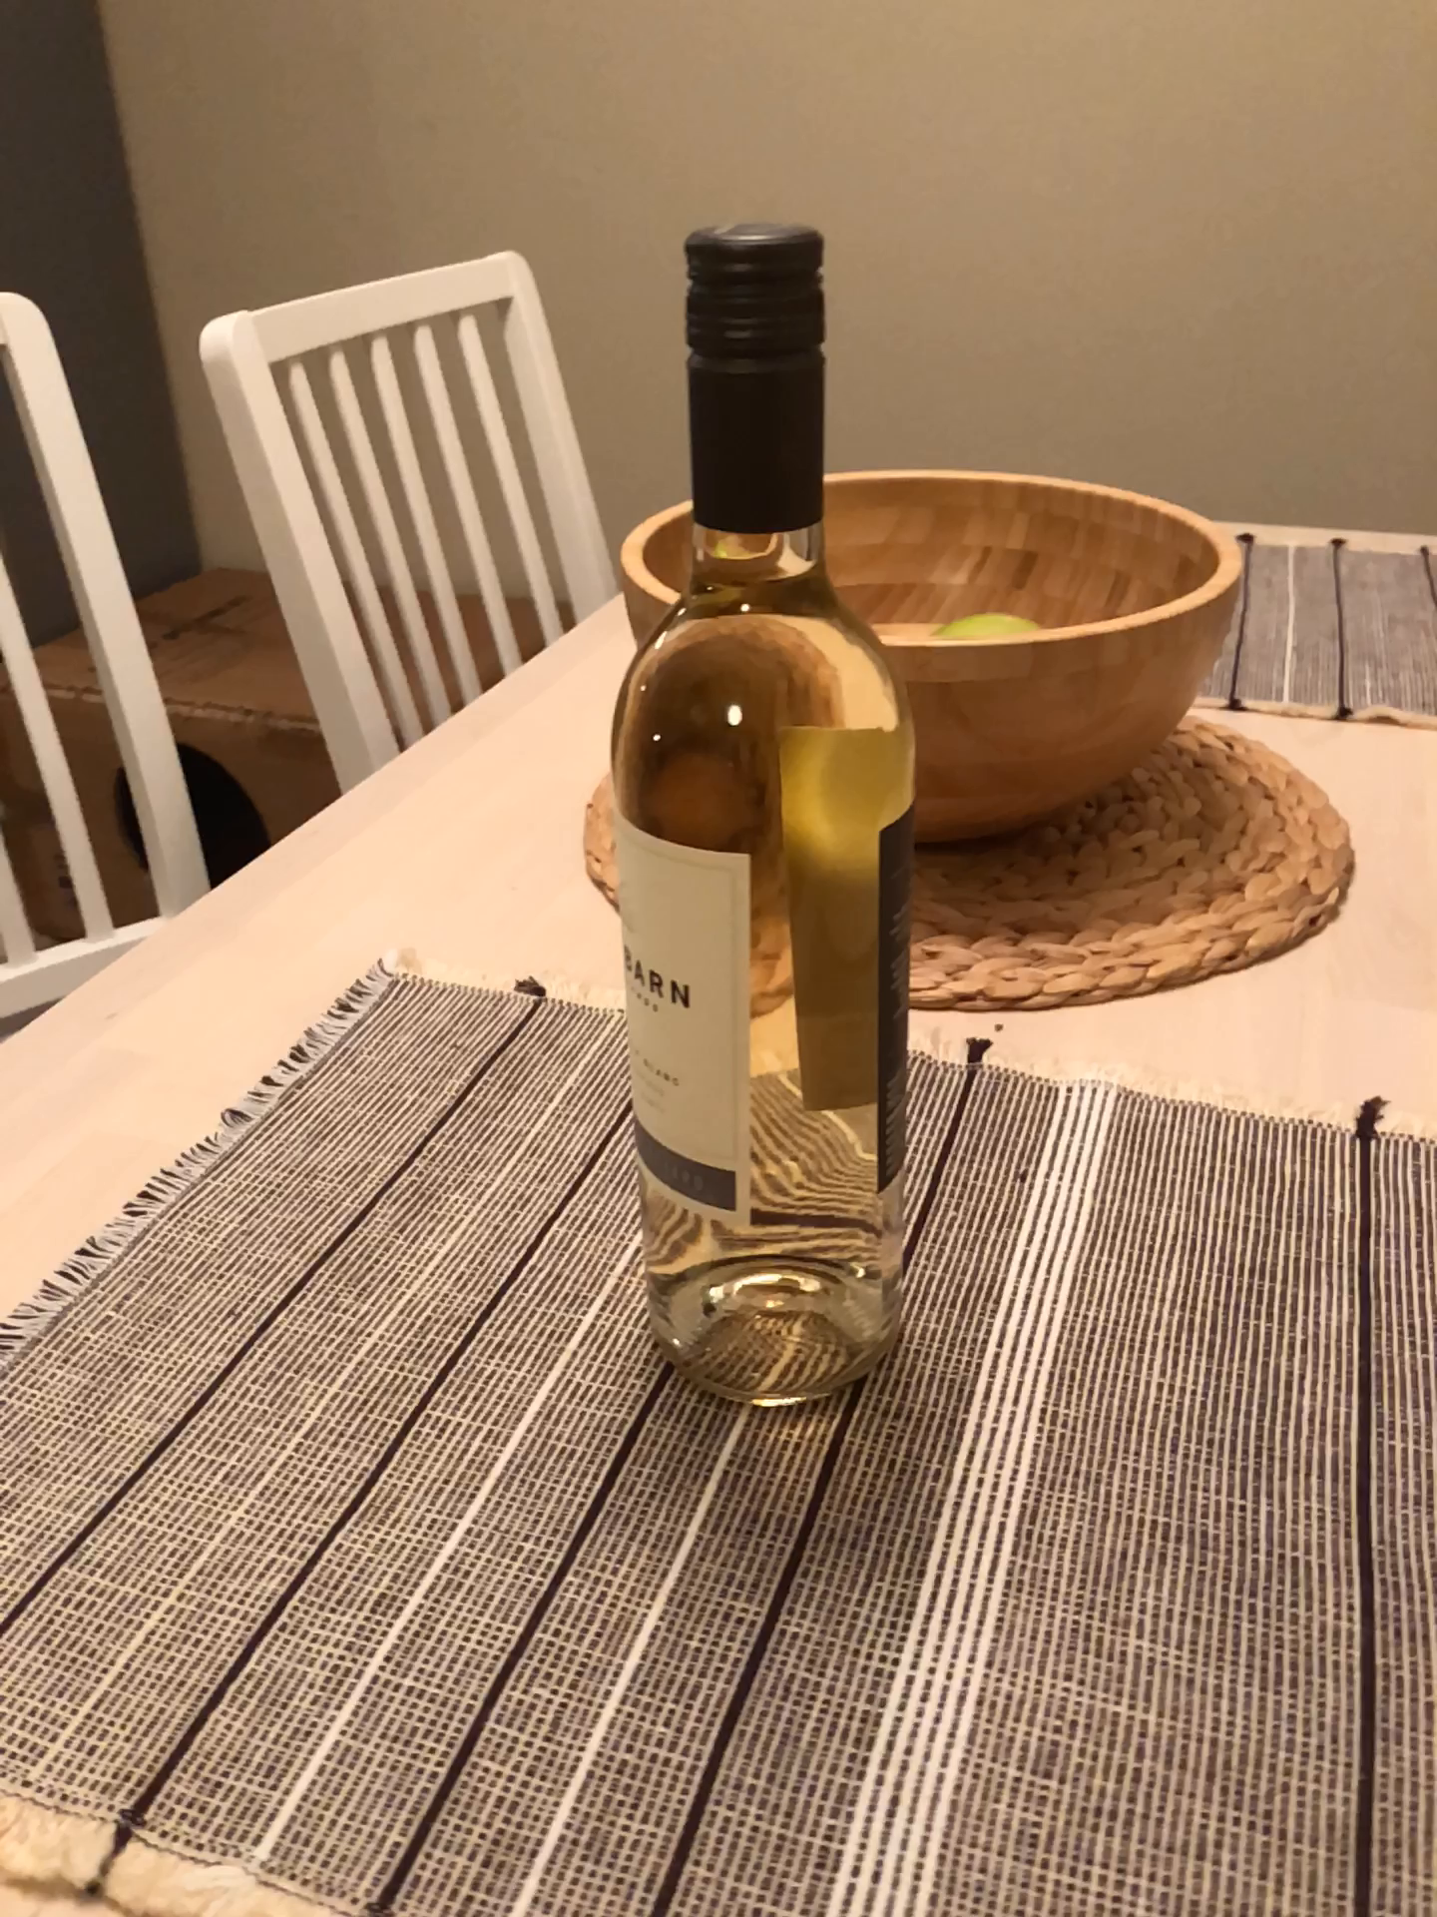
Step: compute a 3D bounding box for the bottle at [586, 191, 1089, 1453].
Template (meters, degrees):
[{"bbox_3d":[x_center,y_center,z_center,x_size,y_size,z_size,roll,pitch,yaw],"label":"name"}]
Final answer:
[{"bbox_3d":[0.024,-0.023,0.398,0.080,0.298,0.080,-1,28,1],"label":"bottle"}]
